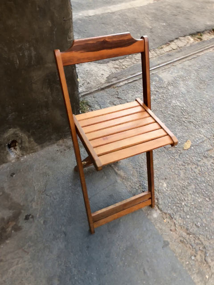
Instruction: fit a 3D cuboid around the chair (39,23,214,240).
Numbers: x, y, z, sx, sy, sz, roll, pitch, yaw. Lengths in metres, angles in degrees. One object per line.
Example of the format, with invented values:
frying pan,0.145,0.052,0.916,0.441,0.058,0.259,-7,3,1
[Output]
chair,0.042,-0.022,1.148,0.481,0.854,0.502,-18,49,-19
